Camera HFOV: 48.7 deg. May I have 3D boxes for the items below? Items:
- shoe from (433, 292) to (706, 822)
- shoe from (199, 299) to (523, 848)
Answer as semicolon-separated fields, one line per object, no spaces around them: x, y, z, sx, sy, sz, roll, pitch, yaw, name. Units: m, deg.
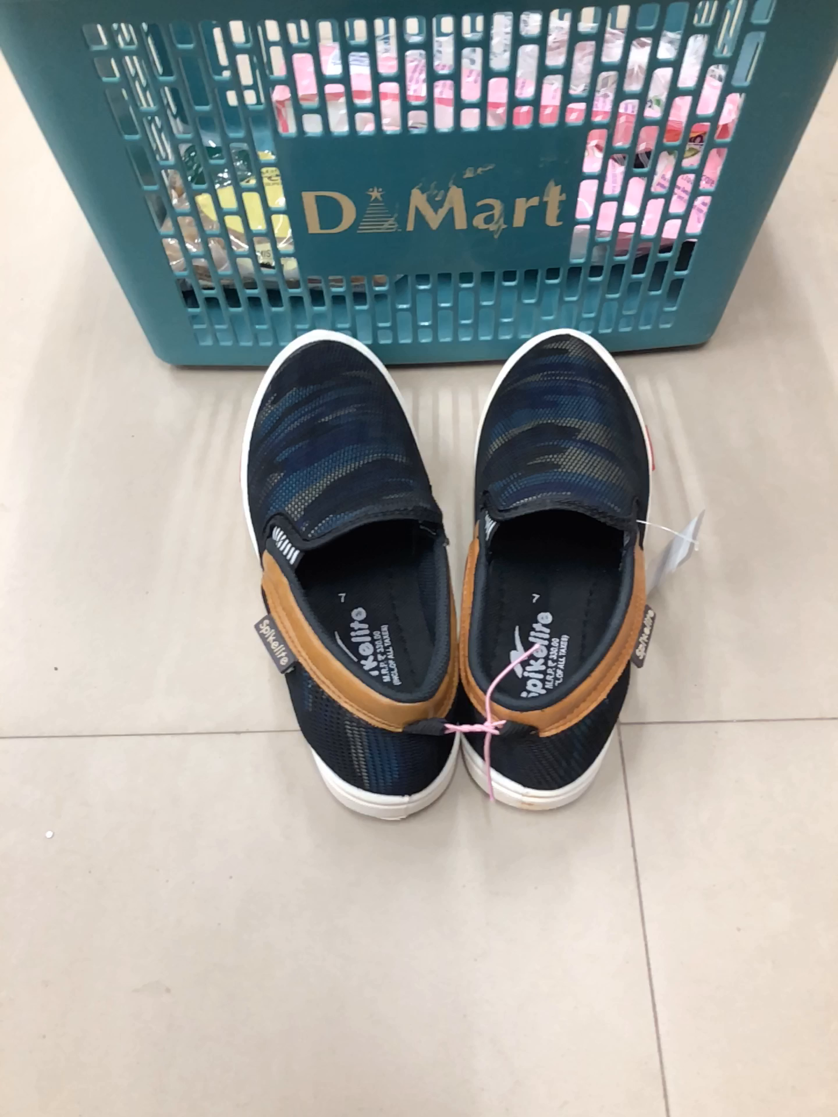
0.073;-0.007;0.465;0.105;0.107;0.240;4;59;5;shoe
-0.034;0.001;0.465;0.105;0.107;0.239;-12;59;-4;shoe
